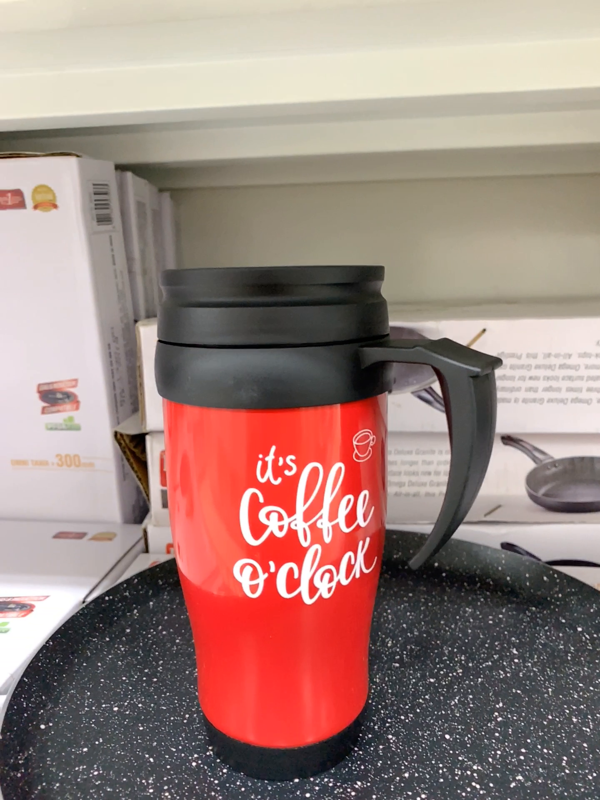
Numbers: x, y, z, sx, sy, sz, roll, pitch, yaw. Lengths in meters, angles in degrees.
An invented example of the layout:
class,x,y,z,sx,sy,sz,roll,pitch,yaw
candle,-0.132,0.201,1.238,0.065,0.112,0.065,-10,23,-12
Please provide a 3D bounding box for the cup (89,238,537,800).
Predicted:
class,x,y,z,sx,sy,sz,roll,pitch,yaw
cup,0.010,0.036,0.219,0.120,0.169,0.090,4,11,27
